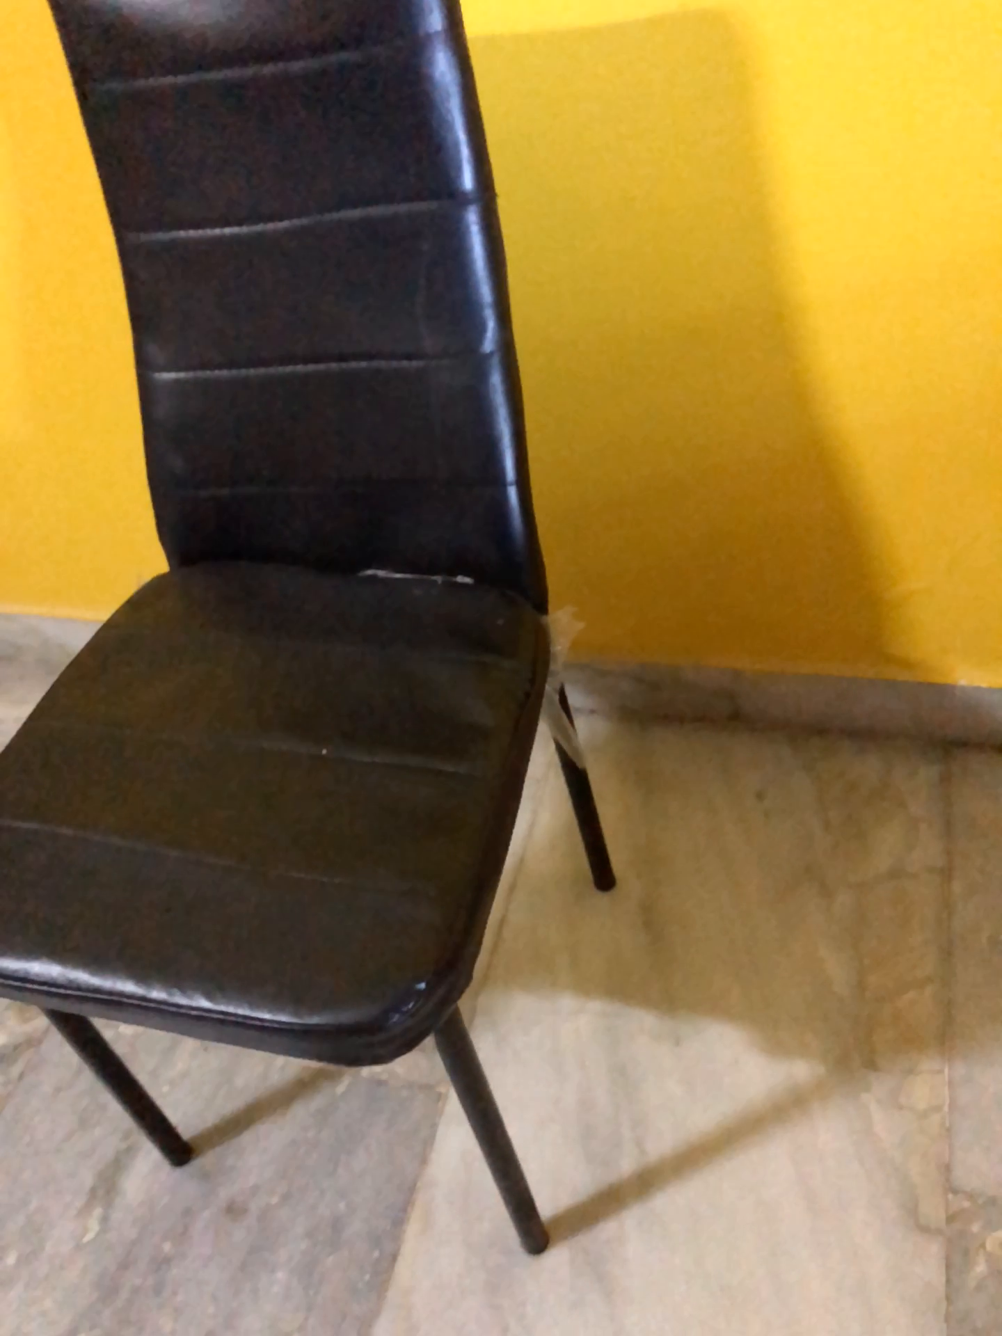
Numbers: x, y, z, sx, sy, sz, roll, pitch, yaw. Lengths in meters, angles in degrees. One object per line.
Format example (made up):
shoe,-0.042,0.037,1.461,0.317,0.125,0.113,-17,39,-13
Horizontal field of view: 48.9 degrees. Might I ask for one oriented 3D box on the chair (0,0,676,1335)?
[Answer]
chair,-0.178,0.014,0.841,0.480,0.905,0.533,6,46,19
